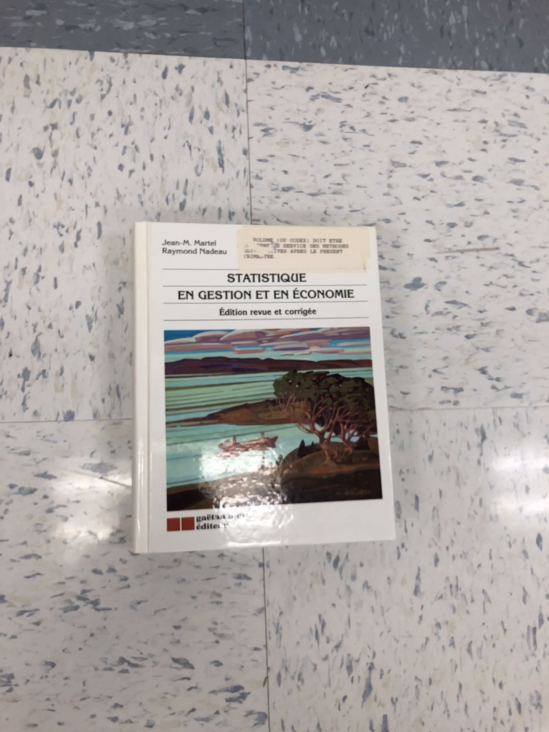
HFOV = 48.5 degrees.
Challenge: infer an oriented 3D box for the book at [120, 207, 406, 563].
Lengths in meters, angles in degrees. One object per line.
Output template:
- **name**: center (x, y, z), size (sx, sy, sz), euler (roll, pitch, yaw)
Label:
- **book**: center (-0.013, 0.010, 0.450), size (0.190, 0.060, 0.240), euler (-1, 81, -8)
